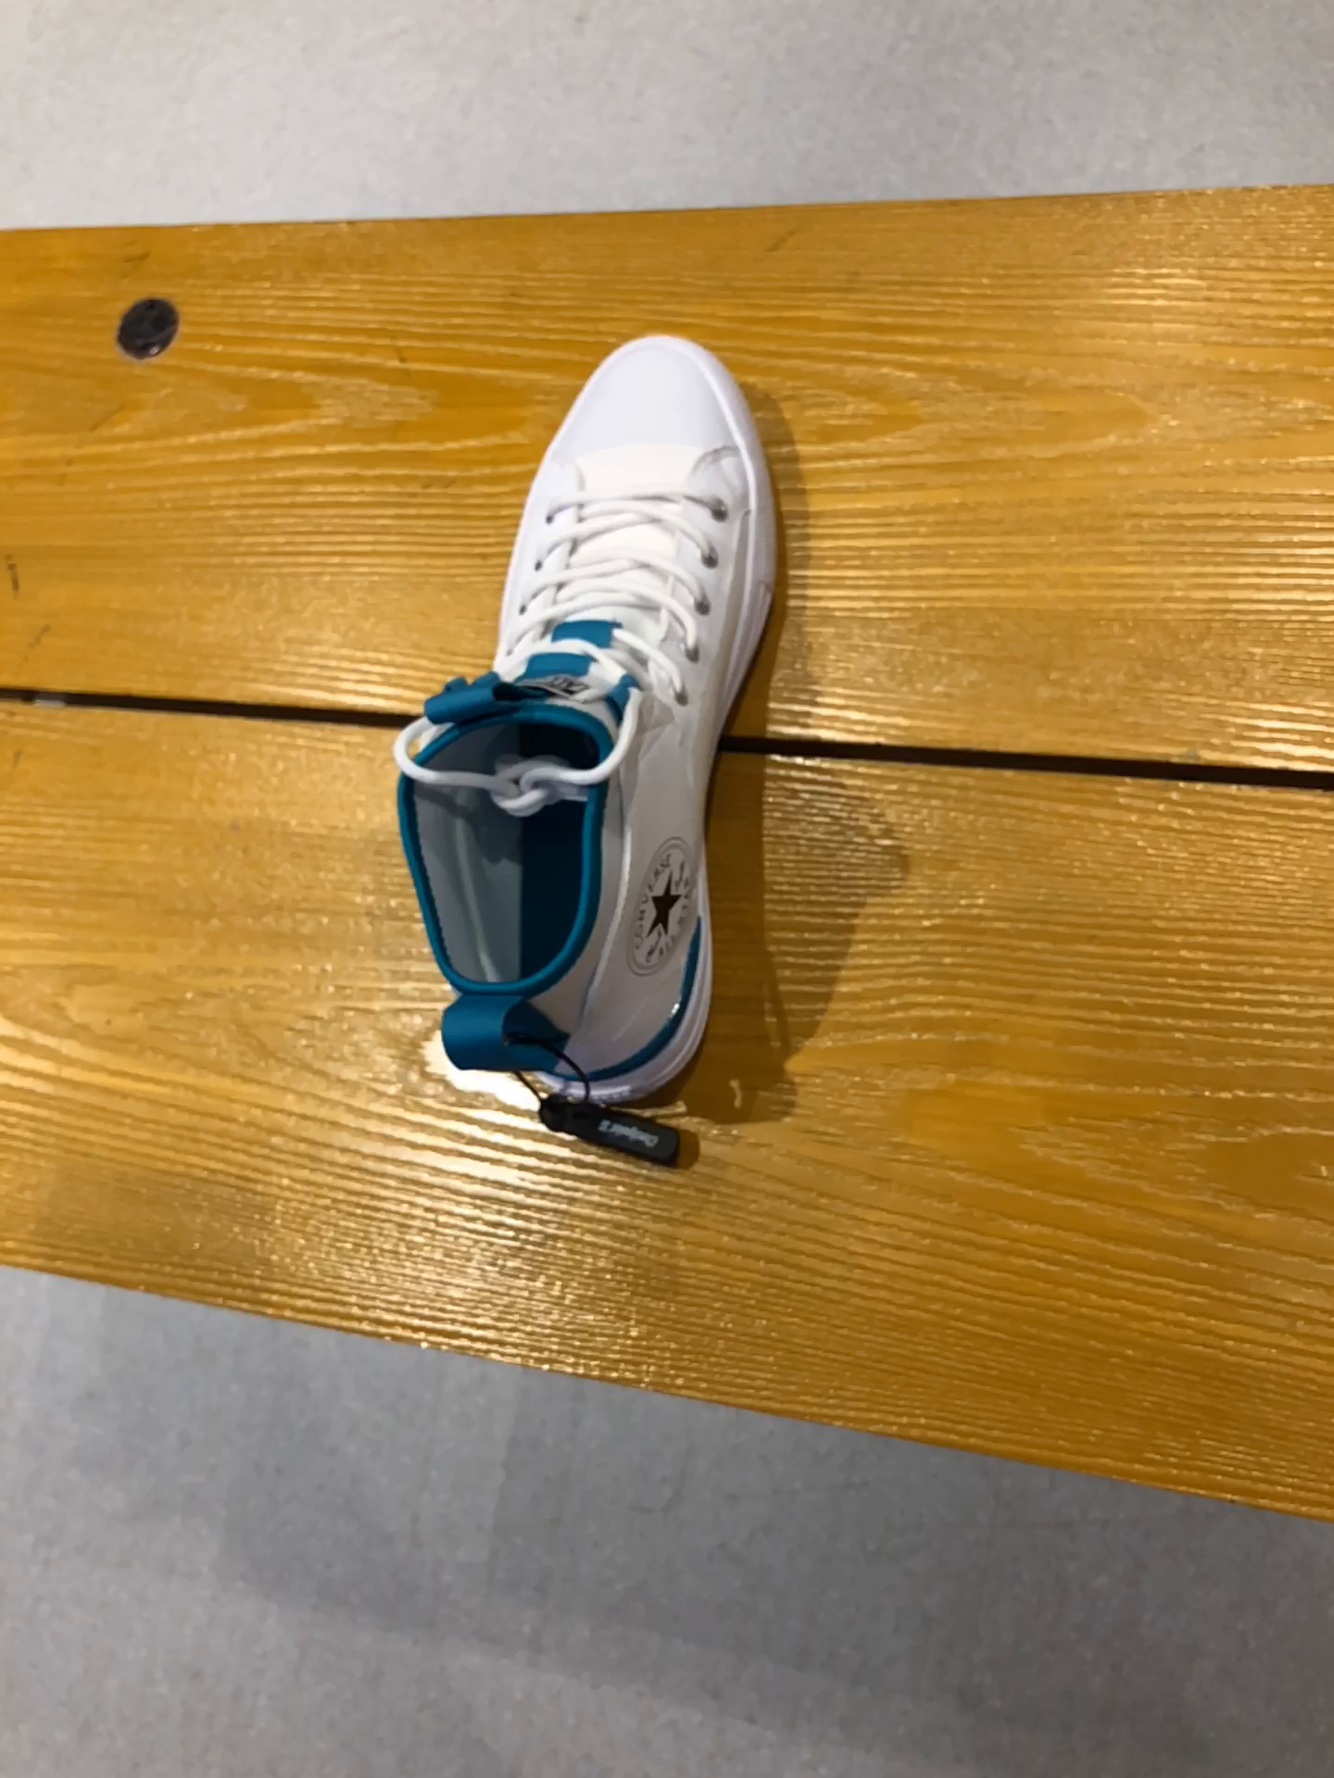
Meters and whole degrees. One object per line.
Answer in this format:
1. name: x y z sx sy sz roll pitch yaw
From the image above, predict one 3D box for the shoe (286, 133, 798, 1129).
1. shoe: -0.027 -0.073 0.513 0.108 0.158 0.293 0 77 15
